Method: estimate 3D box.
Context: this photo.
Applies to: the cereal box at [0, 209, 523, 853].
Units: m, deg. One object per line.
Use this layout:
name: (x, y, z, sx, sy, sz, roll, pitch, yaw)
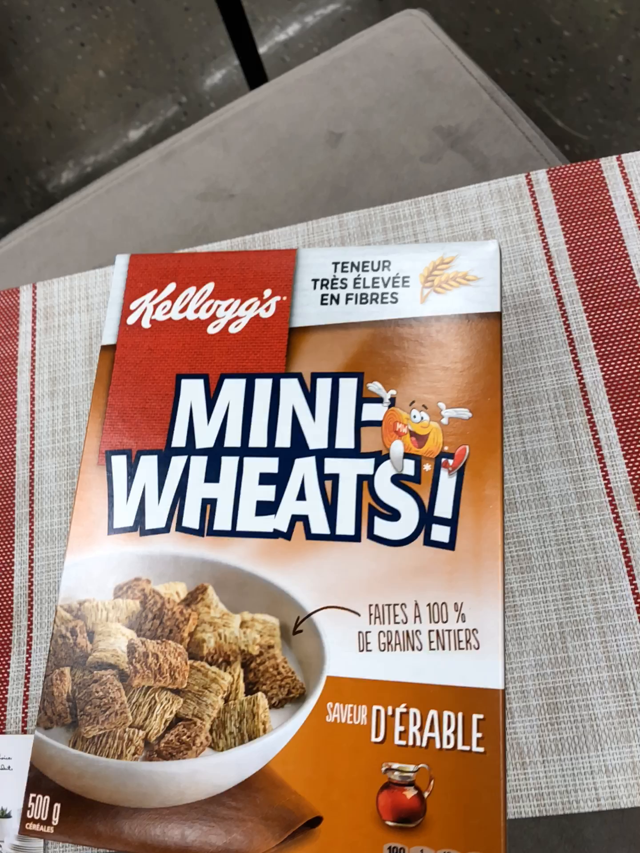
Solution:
cereal box: (-0.018, 0.045, 0.331, 0.210, 0.060, 0.280, 1, 74, 12)
